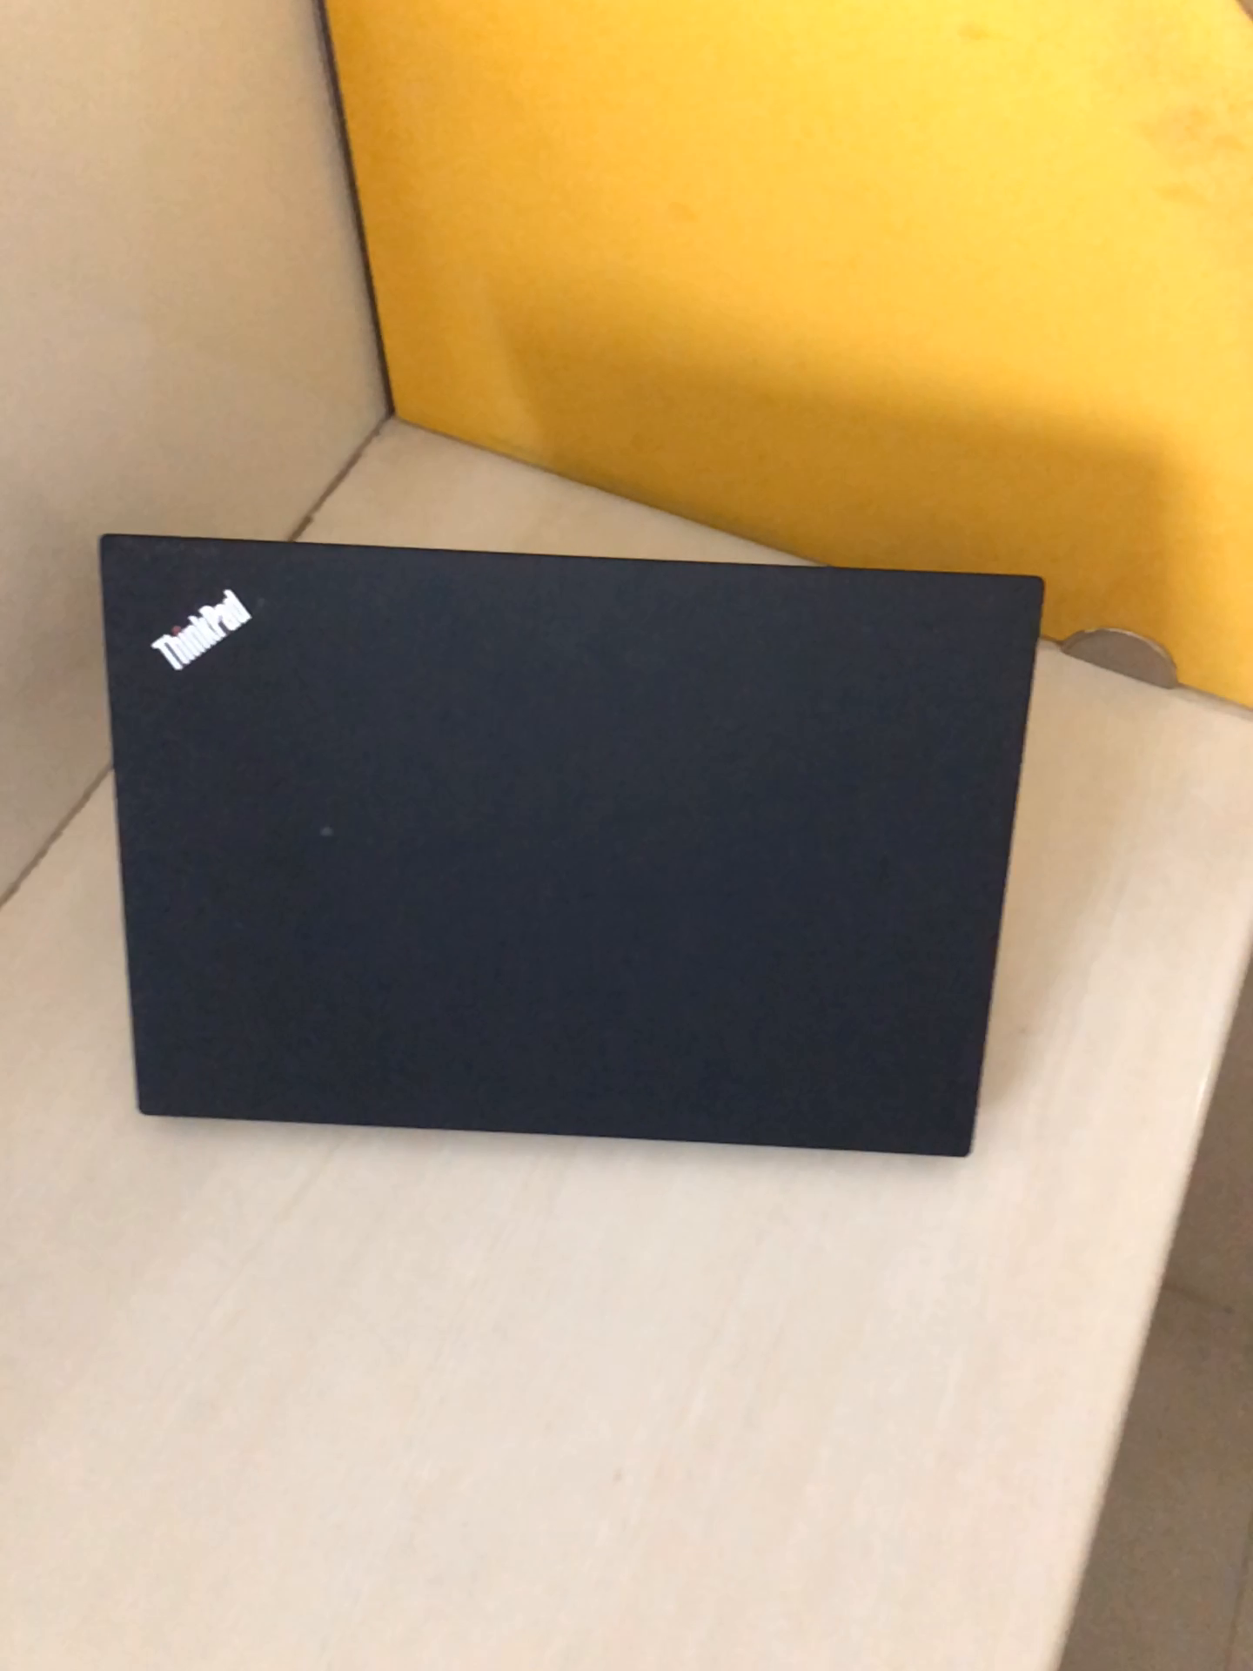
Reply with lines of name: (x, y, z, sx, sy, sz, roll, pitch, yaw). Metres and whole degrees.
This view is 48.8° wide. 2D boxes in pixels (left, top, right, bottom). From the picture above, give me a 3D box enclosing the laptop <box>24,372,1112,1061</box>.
laptop: (-0.019, -0.052, 0.585, 0.349, 0.166, 0.241, 2, 55, 1)
